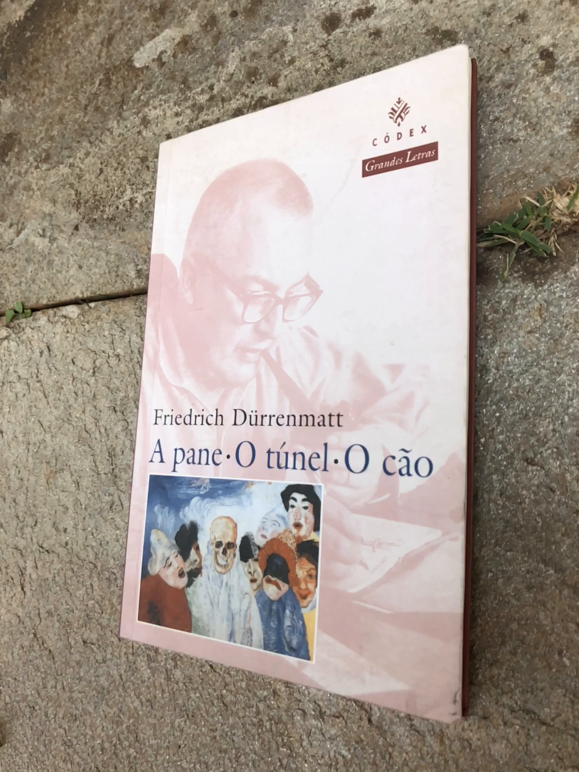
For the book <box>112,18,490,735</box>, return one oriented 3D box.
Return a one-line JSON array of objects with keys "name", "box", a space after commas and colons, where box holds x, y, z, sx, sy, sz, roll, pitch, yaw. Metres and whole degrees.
[{"name": "book", "box": [-0.001, -0.007, 0.233, 0.138, 0.020, 0.210, -1, 83, 33]}]
